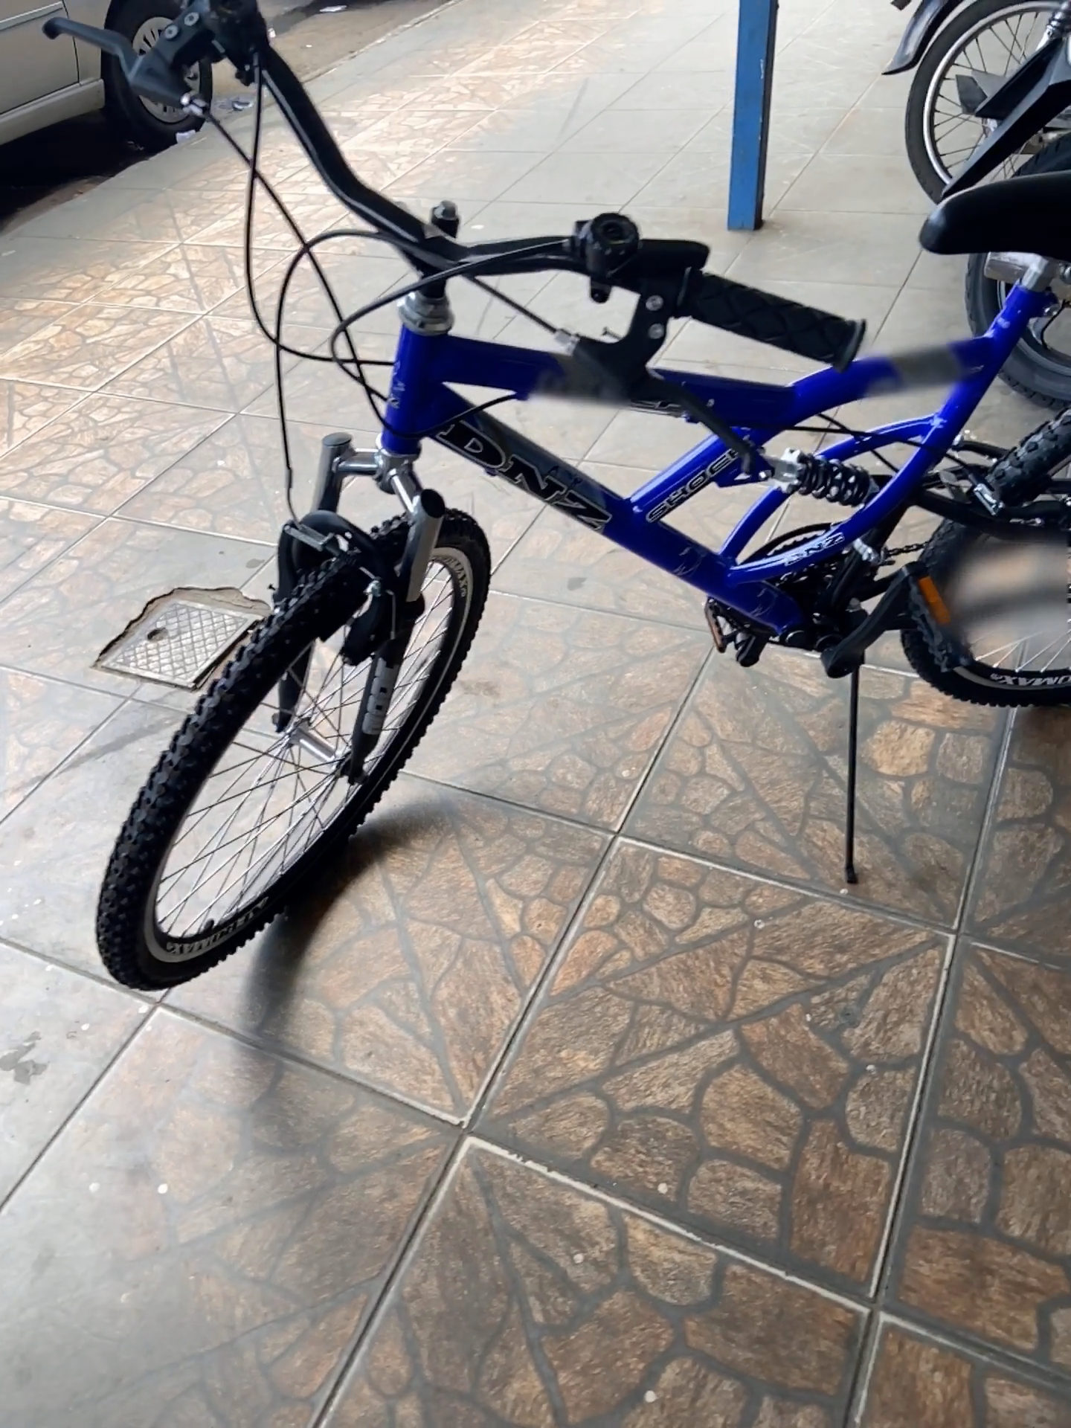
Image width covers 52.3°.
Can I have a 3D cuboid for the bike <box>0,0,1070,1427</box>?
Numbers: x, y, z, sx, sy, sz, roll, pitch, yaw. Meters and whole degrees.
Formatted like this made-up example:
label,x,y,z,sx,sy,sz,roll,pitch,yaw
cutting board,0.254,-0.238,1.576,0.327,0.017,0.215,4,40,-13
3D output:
label,x,y,z,sx,sy,sz,roll,pitch,yaw
bike,0.344,-0.031,1.048,1.611,1.019,0.517,-18,45,-9
